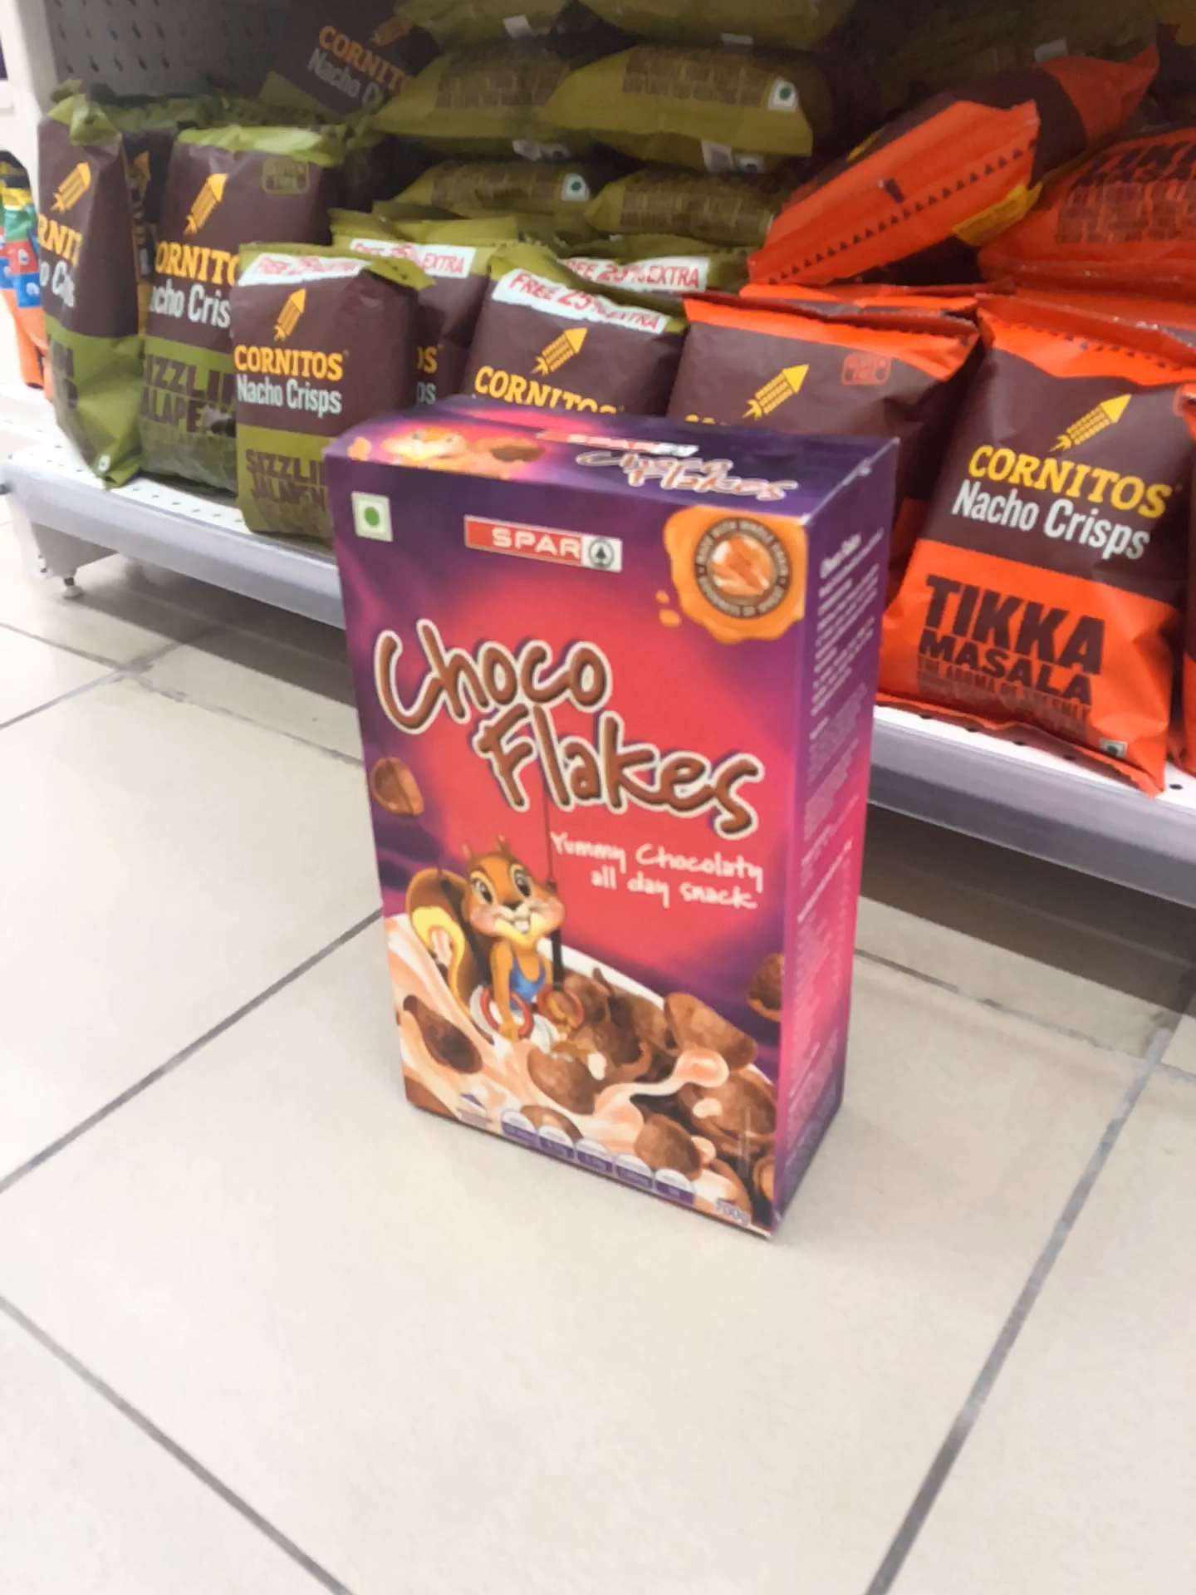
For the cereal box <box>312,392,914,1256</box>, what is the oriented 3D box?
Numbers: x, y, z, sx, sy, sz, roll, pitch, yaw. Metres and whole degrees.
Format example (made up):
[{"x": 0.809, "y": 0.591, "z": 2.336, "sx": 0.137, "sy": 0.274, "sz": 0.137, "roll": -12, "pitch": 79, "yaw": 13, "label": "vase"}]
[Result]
[{"x": 0.011, "y": 0.016, "z": 0.564, "sx": 0.200, "sy": 0.339, "sz": 0.090, "roll": 13, "pitch": 35, "yaw": 24, "label": "cereal box"}]
